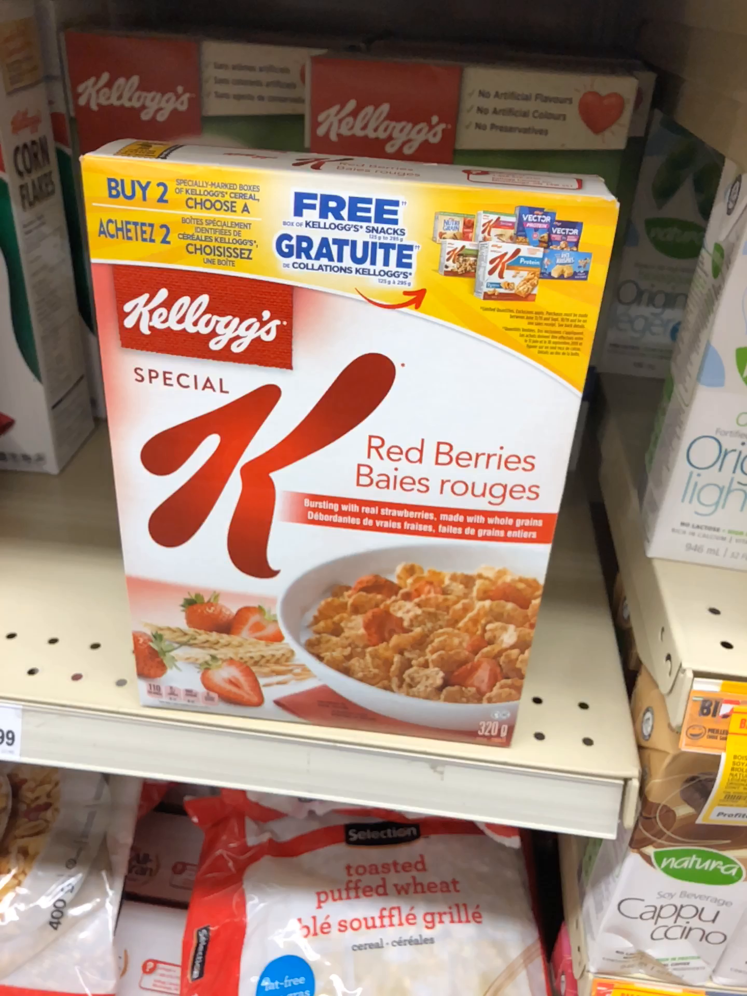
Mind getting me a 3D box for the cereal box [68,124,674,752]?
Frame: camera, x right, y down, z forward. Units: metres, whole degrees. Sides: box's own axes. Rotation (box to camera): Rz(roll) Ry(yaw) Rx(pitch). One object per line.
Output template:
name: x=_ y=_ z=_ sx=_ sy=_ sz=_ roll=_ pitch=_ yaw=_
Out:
cereal box: x=-0.006 y=-0.011 z=0.345 sx=0.190 sy=0.248 sz=0.050 roll=6 pitch=32 yaw=4
